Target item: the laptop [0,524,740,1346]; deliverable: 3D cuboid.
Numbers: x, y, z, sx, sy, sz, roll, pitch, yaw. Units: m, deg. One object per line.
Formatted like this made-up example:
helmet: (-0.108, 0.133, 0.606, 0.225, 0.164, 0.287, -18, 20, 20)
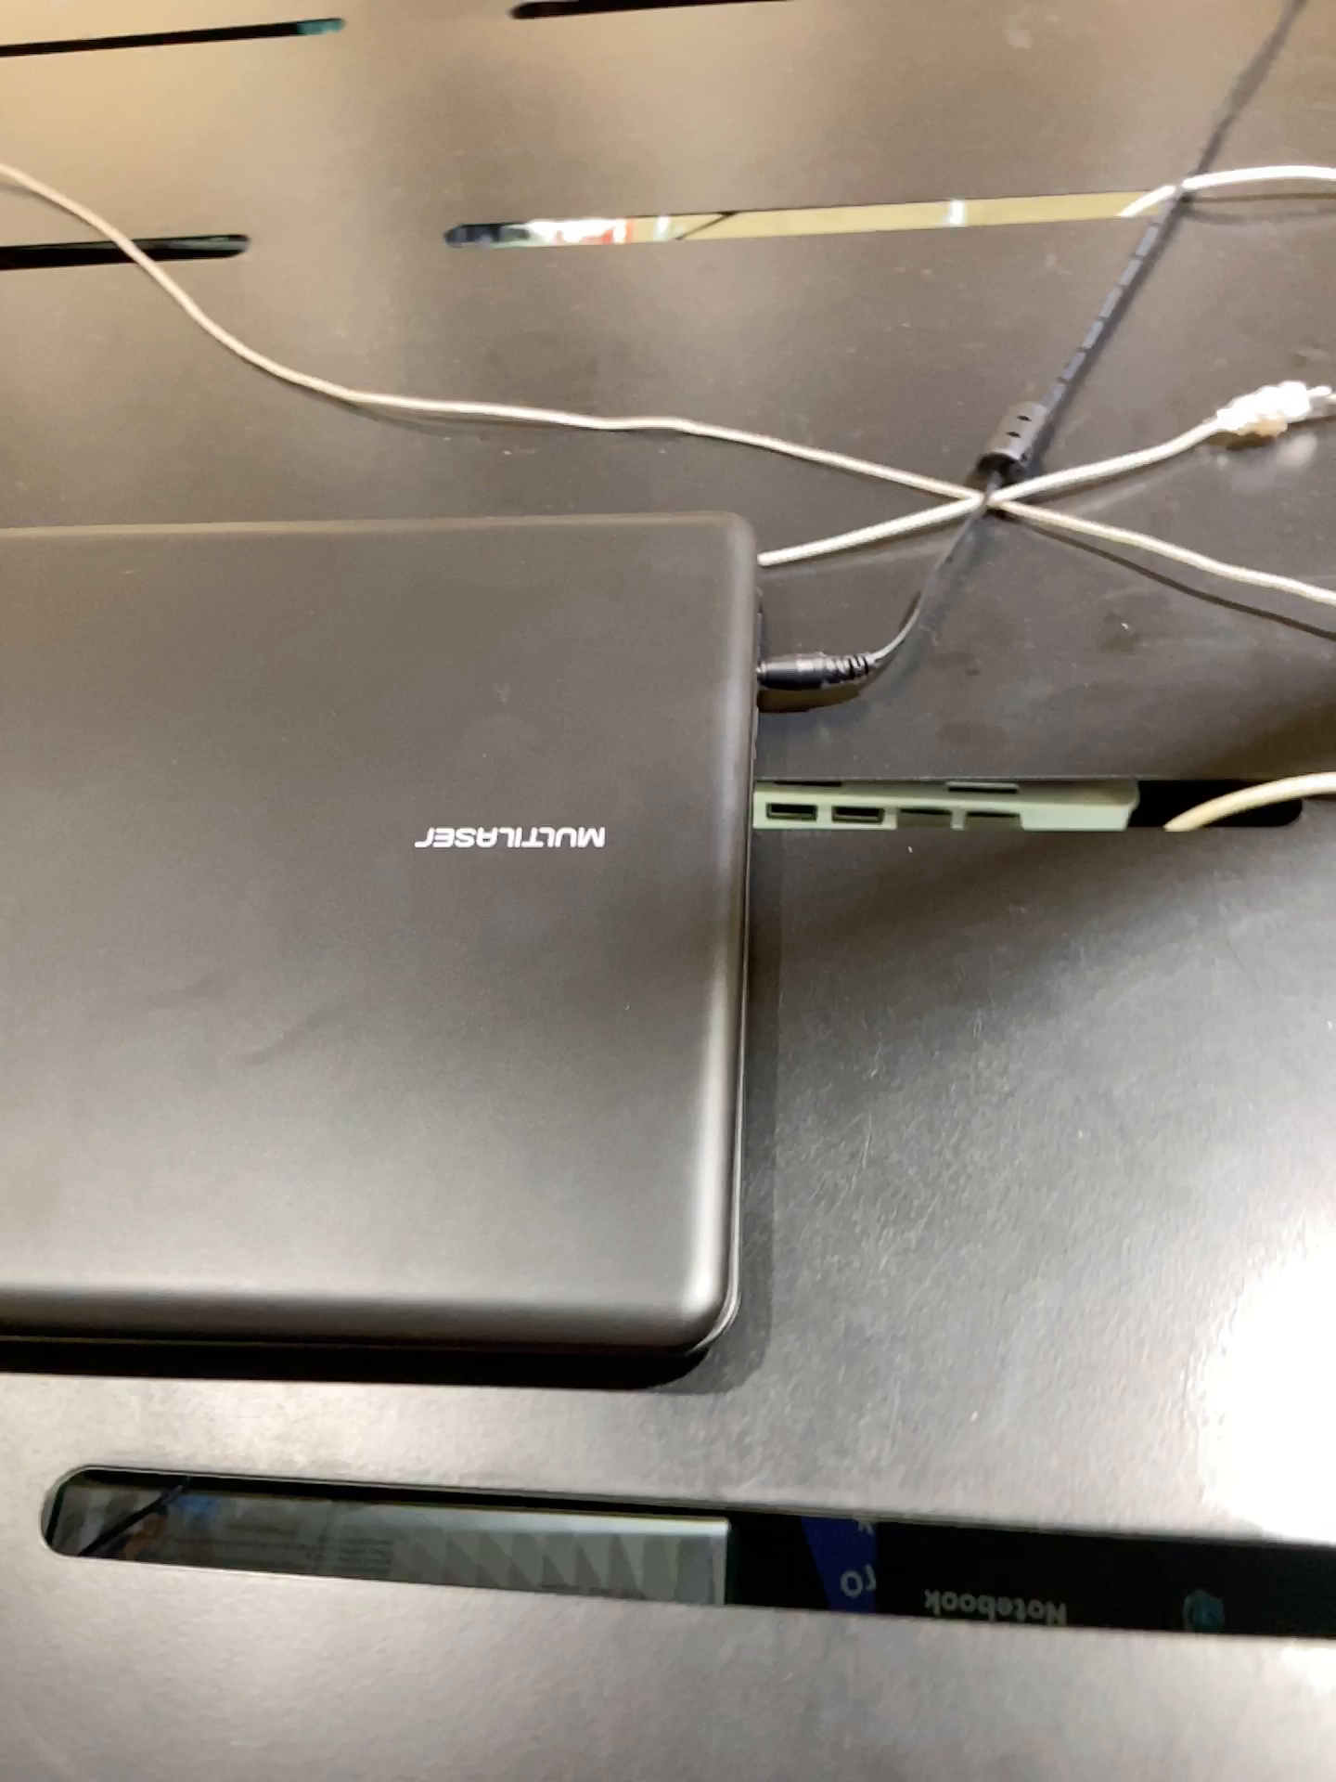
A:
laptop: (-0.148, -0.008, 0.314, 0.324, 0.001, 0.211, 0, 55, 6)
